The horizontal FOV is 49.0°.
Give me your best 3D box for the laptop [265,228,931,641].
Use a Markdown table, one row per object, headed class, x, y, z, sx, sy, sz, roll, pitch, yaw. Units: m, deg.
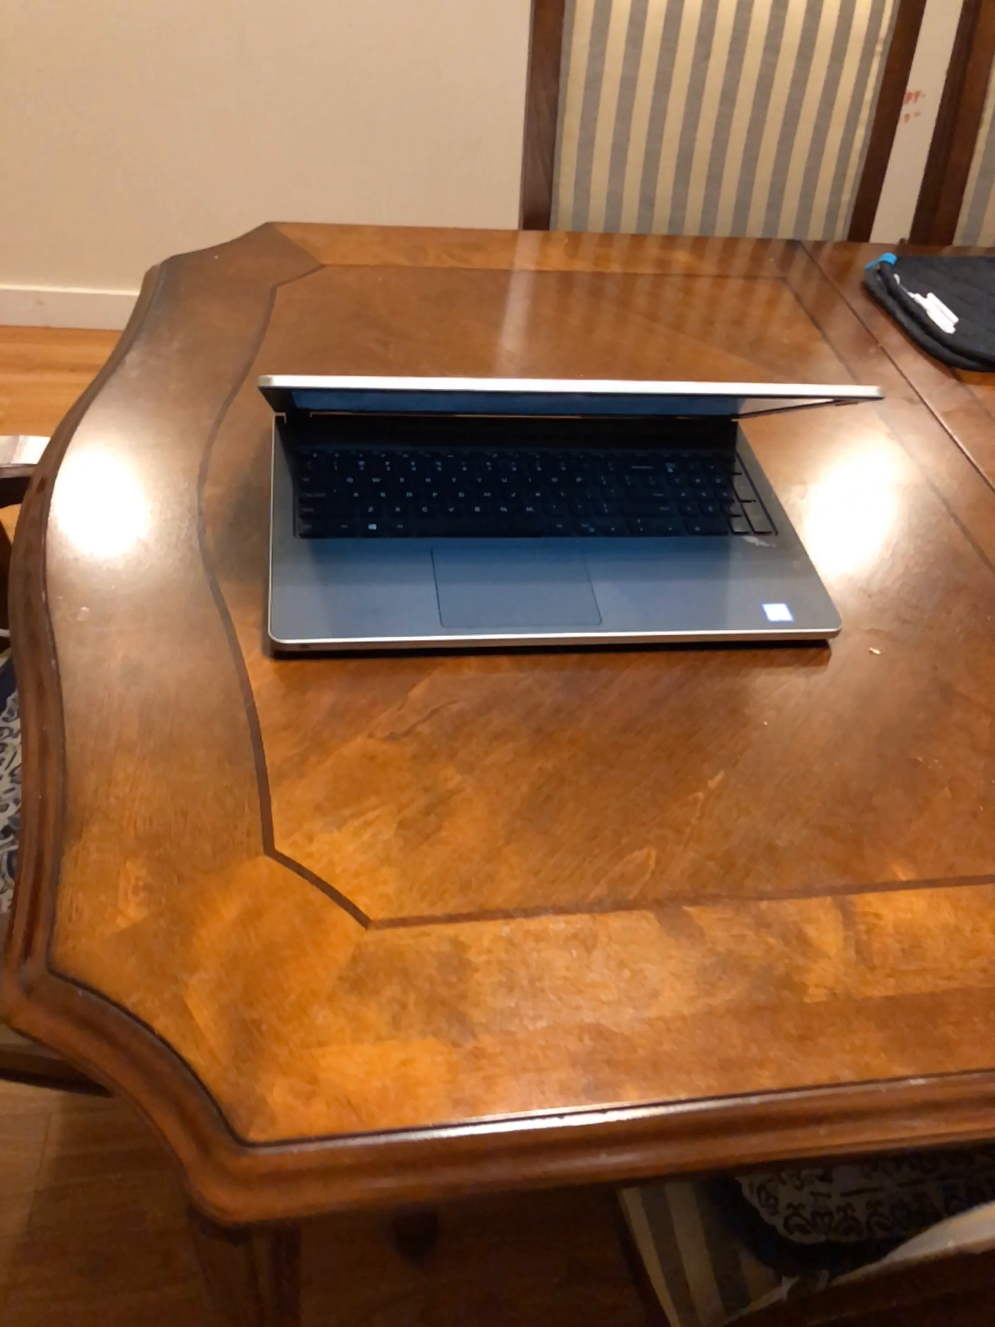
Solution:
| class | x | y | z | sx | sy | sz | roll | pitch | yaw |
| --- | --- | --- | --- | --- | --- | --- | --- | --- | --- |
| laptop | 0.040 | -0.156 | 0.718 | 0.363 | 0.147 | 0.246 | -2 | 45 | -8 |
